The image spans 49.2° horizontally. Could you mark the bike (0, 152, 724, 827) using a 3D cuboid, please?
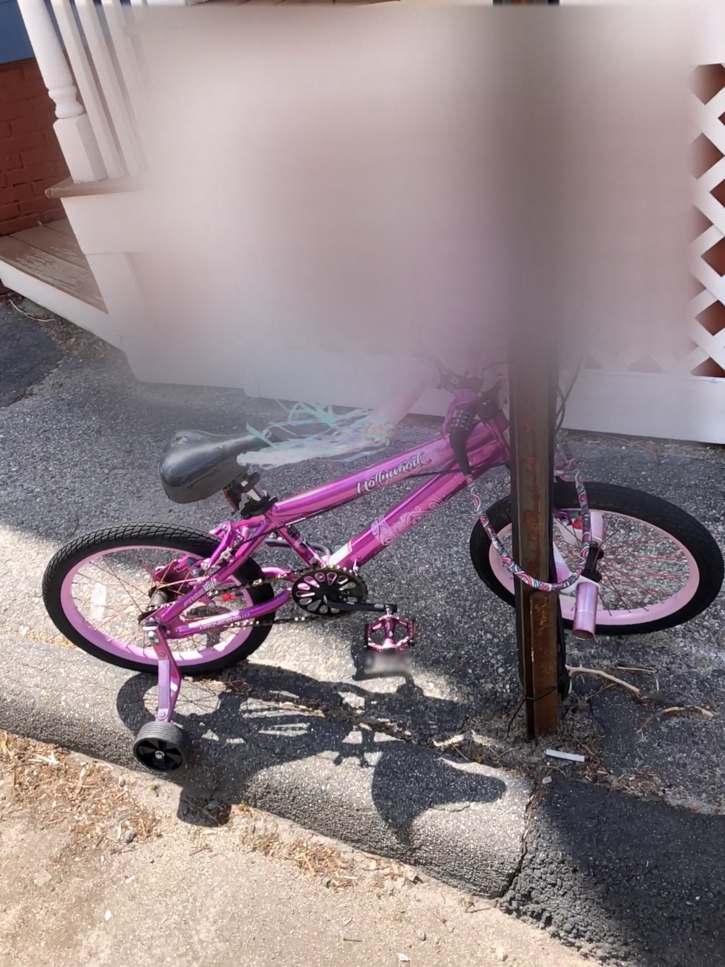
[{"bbox_3d":[-0.019,0.043,1.337,1.224,0.869,0.618,-4,35,8],"label":"bike"}]
